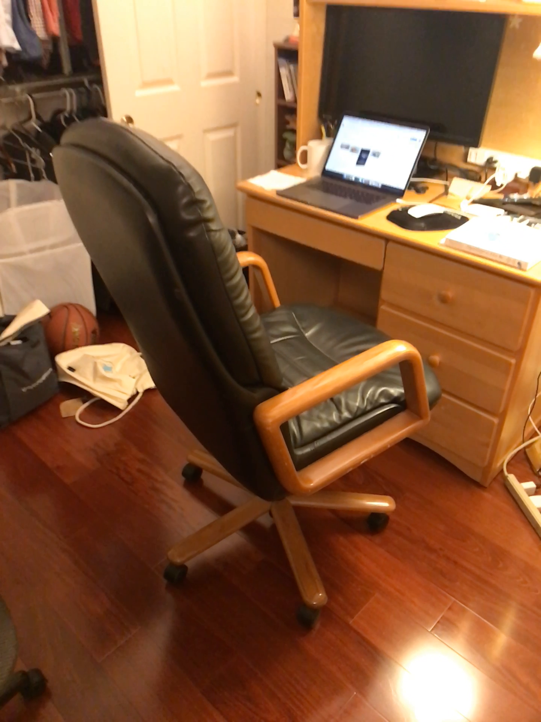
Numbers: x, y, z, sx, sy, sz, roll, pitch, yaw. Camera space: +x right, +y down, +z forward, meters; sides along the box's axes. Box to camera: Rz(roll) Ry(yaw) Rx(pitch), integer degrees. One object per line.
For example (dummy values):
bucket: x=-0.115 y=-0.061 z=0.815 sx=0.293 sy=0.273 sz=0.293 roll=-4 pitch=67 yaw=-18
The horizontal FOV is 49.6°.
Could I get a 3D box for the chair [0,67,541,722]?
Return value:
chair: x=-0.070 y=-0.044 z=1.523 sx=0.853 sy=1.141 sz=0.994 roll=-19 pitch=38 yaw=-28
